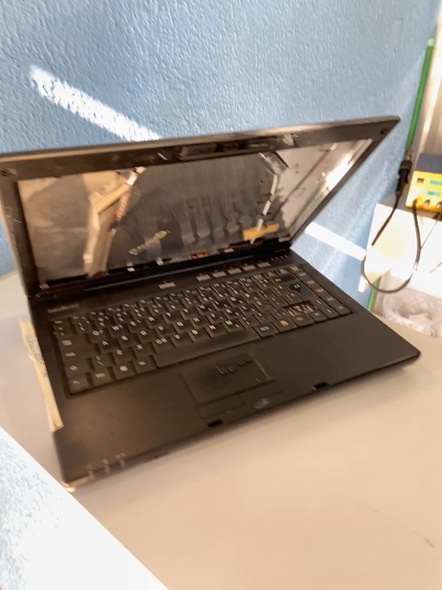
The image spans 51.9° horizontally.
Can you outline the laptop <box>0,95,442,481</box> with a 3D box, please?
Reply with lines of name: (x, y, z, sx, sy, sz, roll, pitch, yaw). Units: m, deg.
laptop: (-0.003, -0.048, 0.406, 0.323, 0.191, 0.232, -13, 35, -22)
